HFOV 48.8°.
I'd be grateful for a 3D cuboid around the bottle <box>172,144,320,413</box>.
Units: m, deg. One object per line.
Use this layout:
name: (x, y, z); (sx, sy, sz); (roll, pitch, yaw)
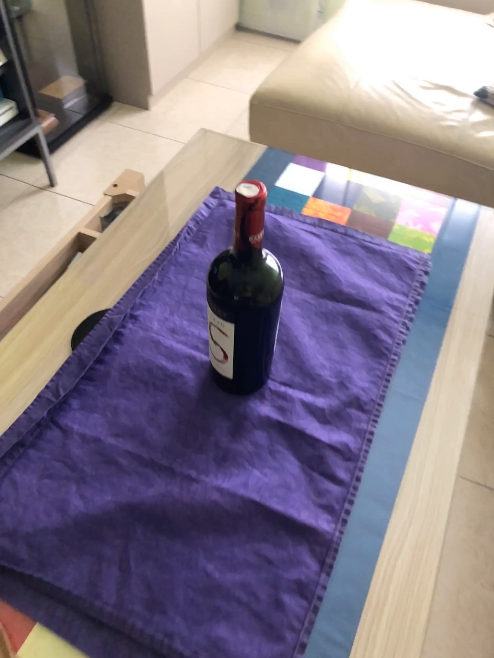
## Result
bottle: (-0.005, -0.037, 0.570); (0.090, 0.269, 0.090); (2, 50, -2)
